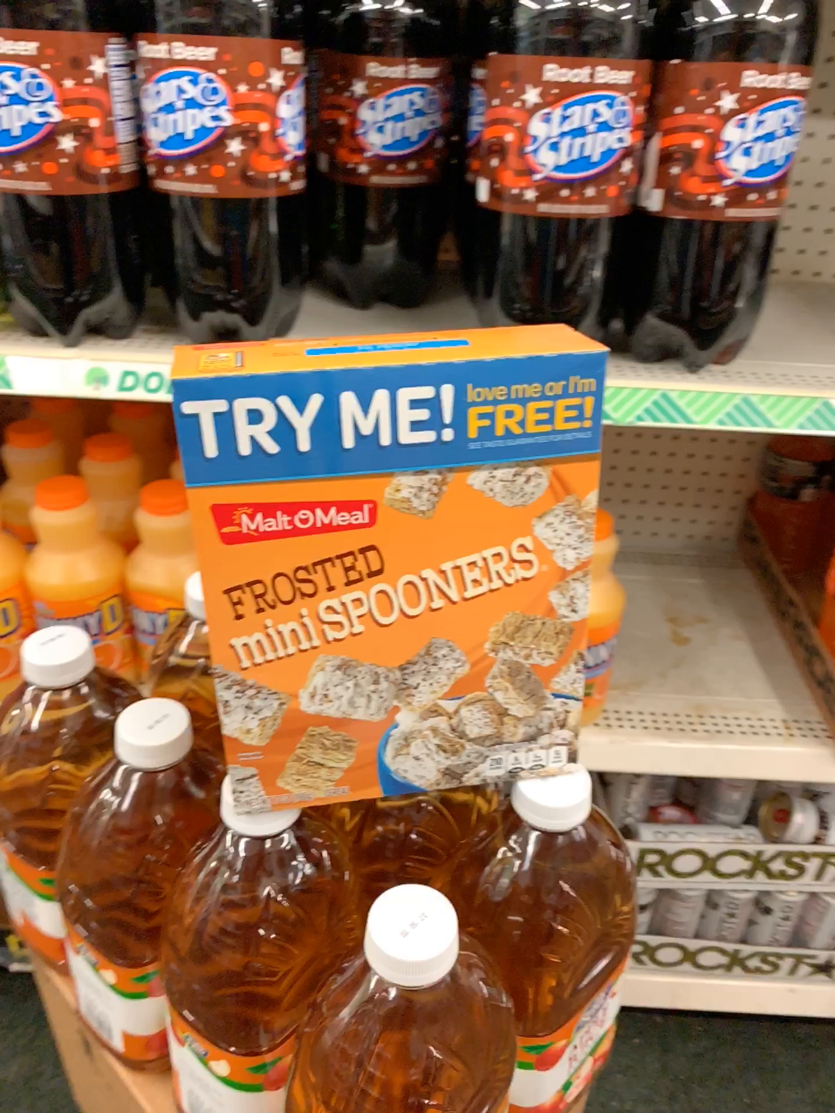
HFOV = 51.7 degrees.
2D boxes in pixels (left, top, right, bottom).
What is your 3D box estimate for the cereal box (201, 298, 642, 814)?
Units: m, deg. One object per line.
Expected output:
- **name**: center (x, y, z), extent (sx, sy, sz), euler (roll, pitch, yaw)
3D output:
- **cereal box**: center (-0.003, 0.000, 0.396), extent (0.170, 0.219, 0.060), euler (-4, 25, -12)
